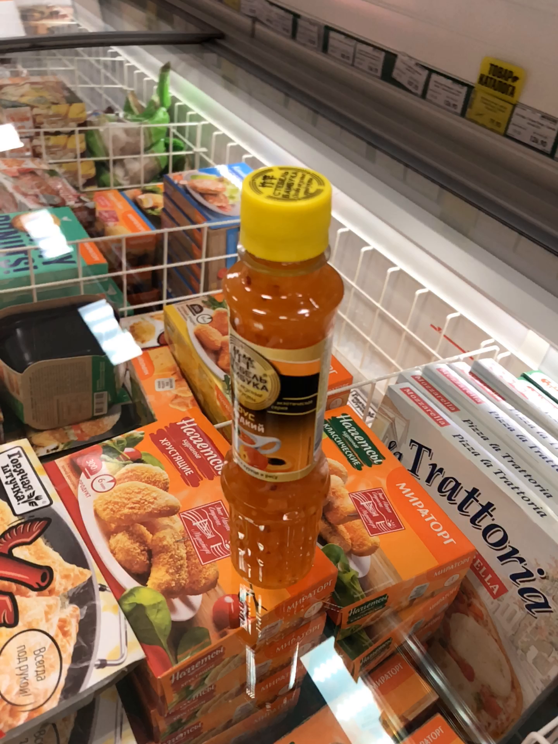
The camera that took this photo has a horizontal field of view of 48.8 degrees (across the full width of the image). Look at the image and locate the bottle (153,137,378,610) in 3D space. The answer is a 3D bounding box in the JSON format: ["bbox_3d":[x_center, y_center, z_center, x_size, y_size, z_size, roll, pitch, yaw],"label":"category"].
[{"bbox_3d":[-0.007,0.016,0.258,0.051,0.201,0.049,1,41,-1],"label":"bottle"}]
